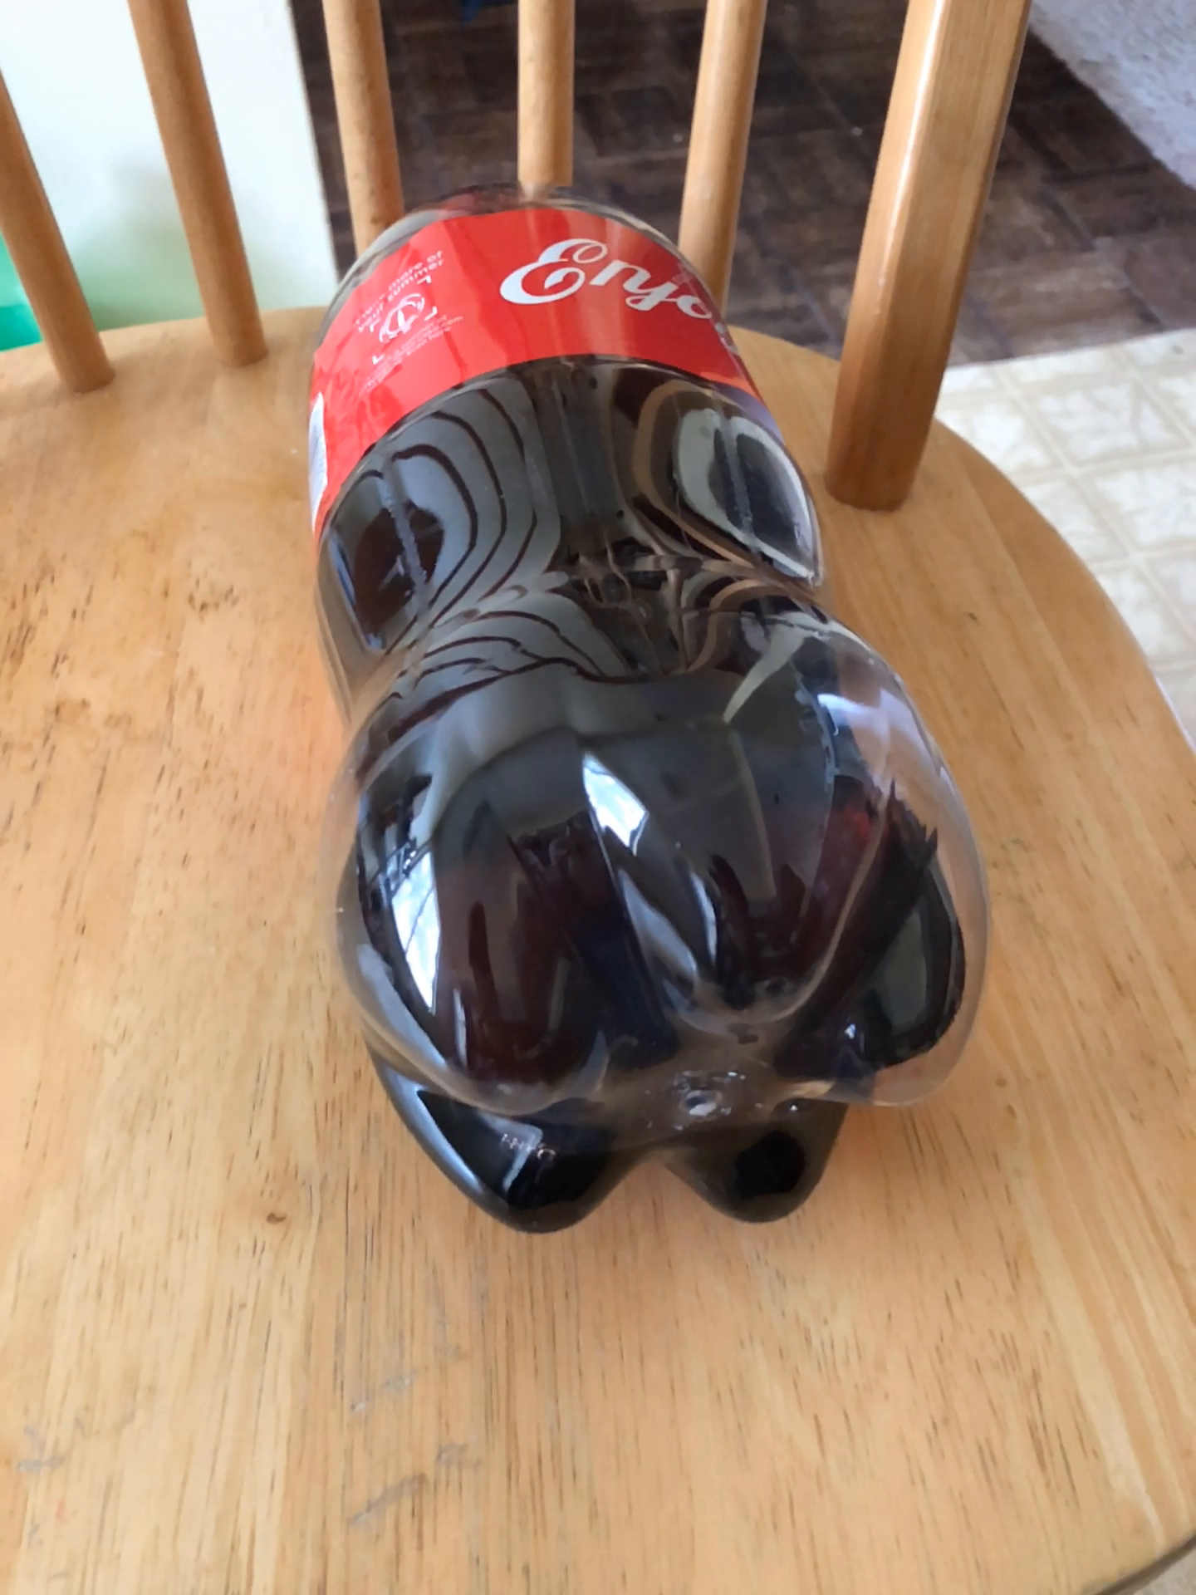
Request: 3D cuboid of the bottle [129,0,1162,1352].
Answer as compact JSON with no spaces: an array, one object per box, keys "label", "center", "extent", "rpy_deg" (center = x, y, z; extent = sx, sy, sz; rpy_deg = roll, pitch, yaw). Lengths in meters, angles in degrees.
[{"label":"bottle","center":[-0.011,-0.067,0.294],"extent":[0.100,0.120,0.320],"rpy_deg":[-32,46,22]}]
